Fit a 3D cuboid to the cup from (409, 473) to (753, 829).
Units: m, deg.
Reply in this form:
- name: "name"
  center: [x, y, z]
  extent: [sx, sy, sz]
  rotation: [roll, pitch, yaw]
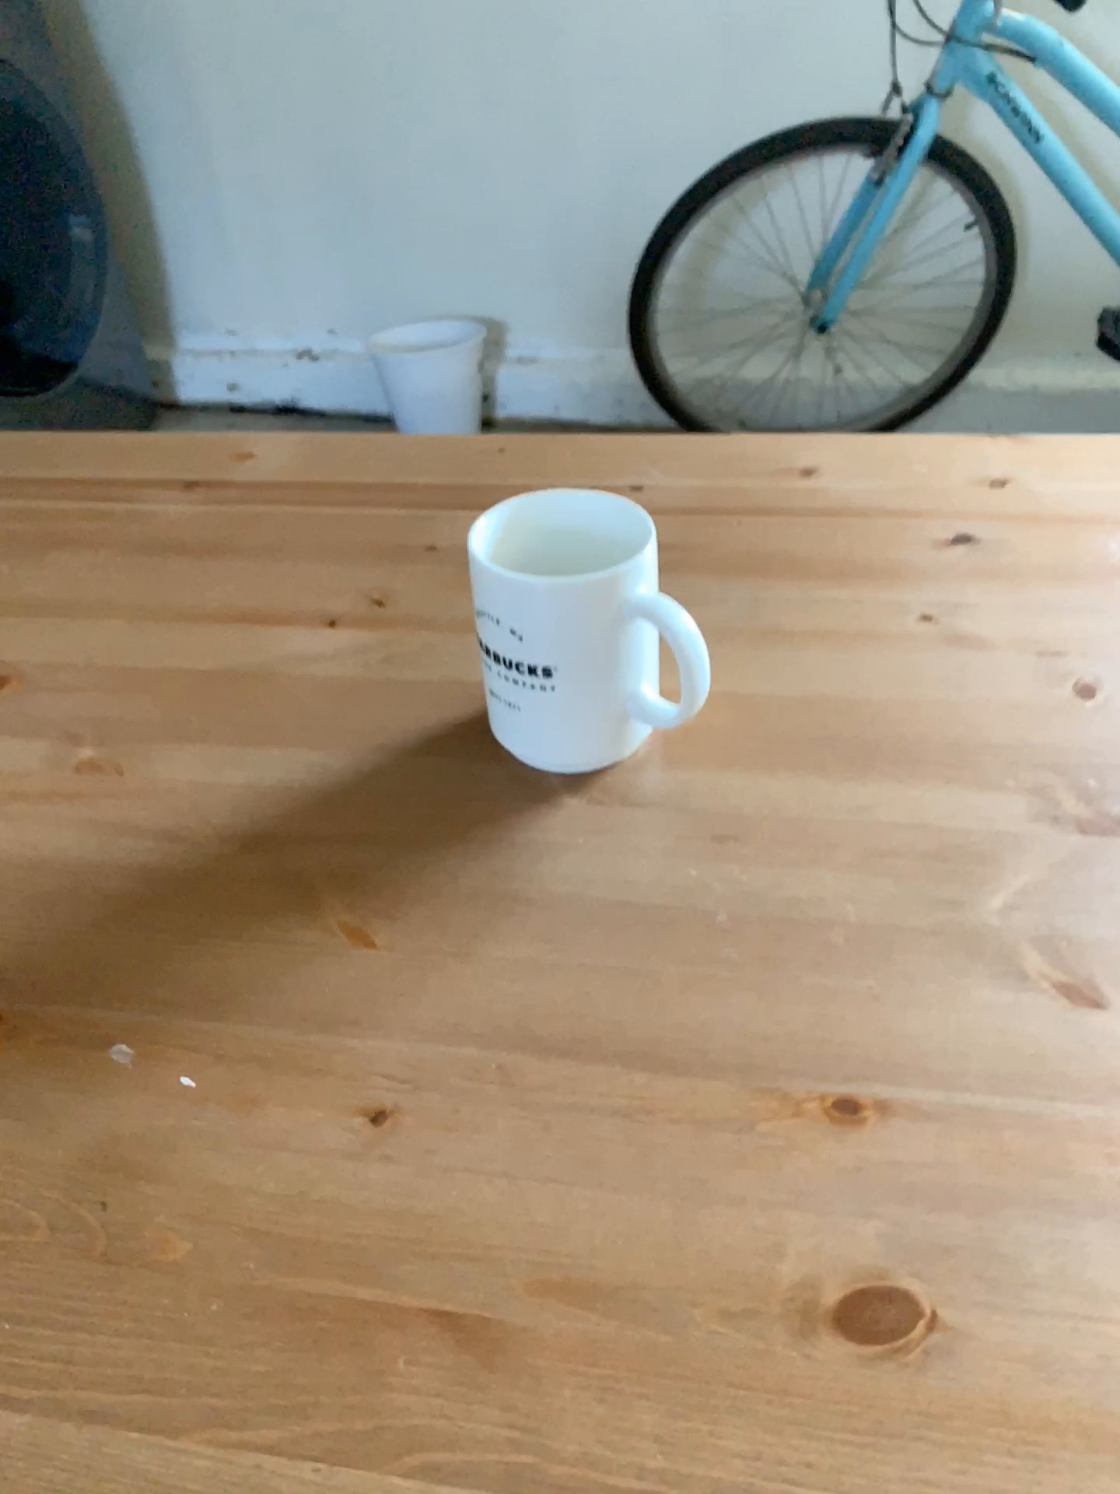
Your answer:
- name: "cup"
  center: [0.011, -0.046, 0.516]
  extent: [0.120, 0.099, 0.080]
  rotation: [24, 48, 32]
